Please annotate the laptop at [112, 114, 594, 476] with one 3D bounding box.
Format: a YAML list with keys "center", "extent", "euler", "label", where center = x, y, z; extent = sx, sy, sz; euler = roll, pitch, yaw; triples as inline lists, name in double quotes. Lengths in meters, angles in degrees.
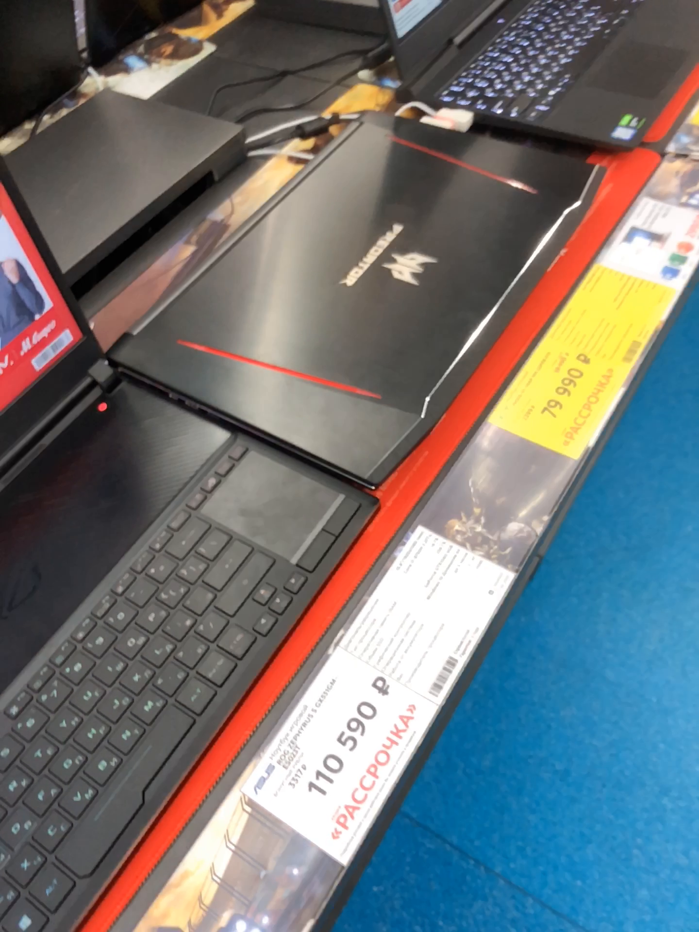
- center: [0.017, -0.171, 0.632]
  extent: [0.228, 0.004, 0.378]
  euler: [24, 59, 23]
  label: "laptop"
